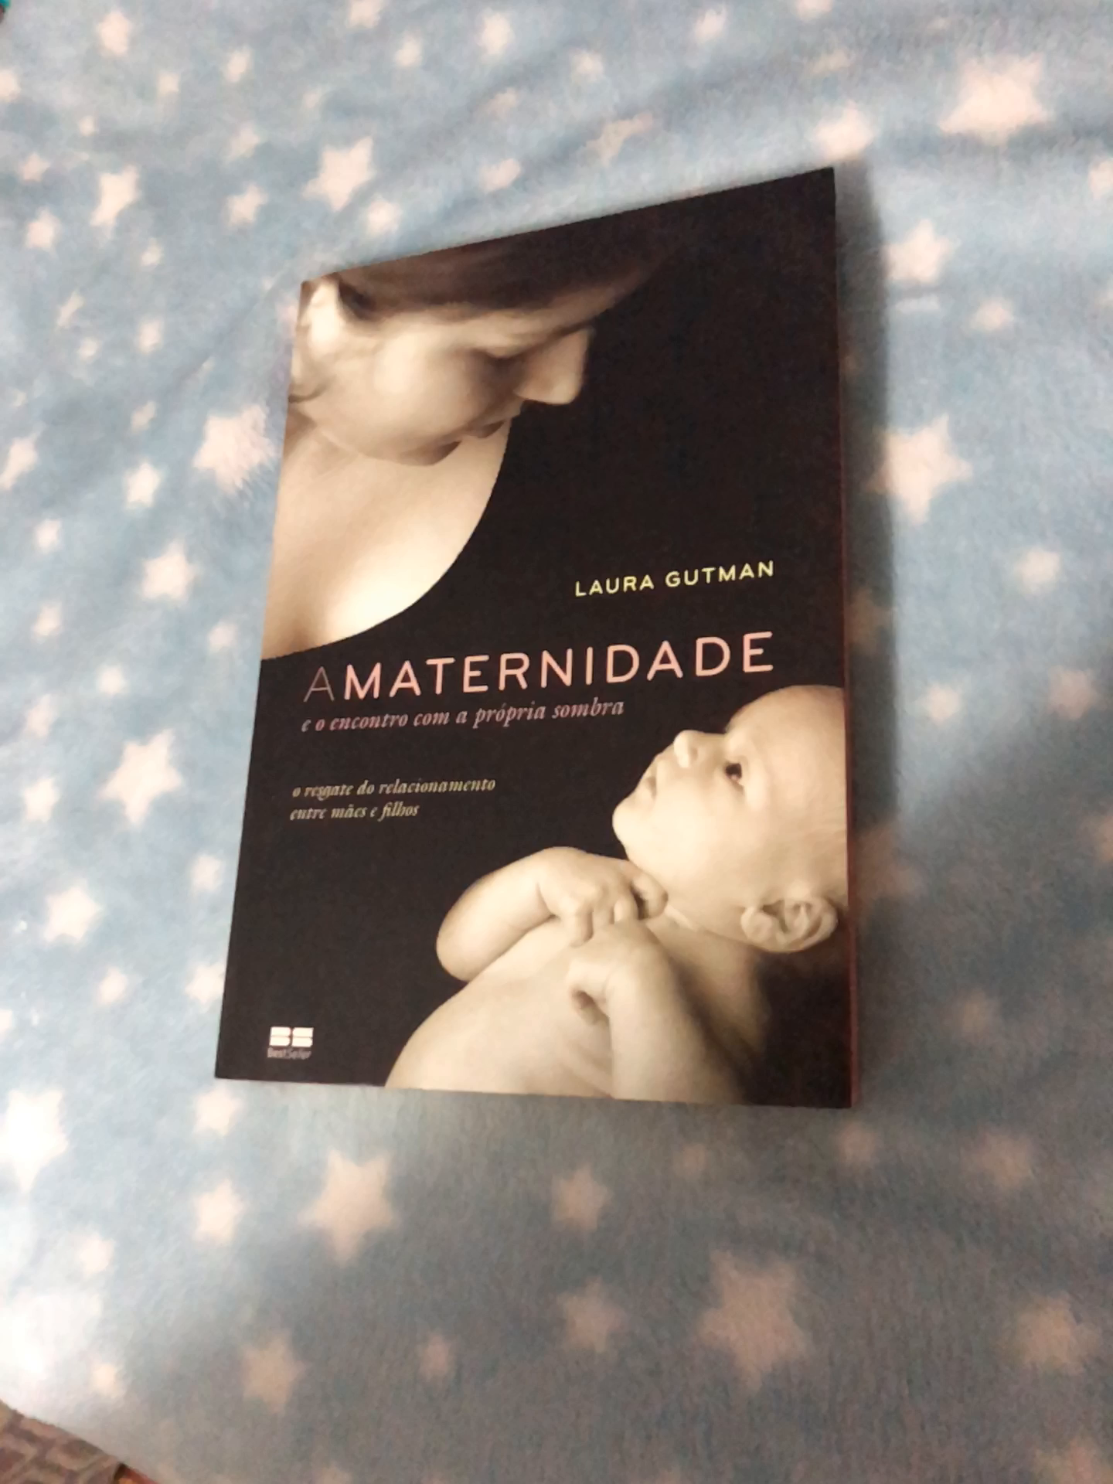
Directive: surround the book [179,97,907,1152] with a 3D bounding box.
[{"bbox_3d":[-0.001,-0.031,0.304,0.160,0.030,0.240,-3,73,21],"label":"book"}]
